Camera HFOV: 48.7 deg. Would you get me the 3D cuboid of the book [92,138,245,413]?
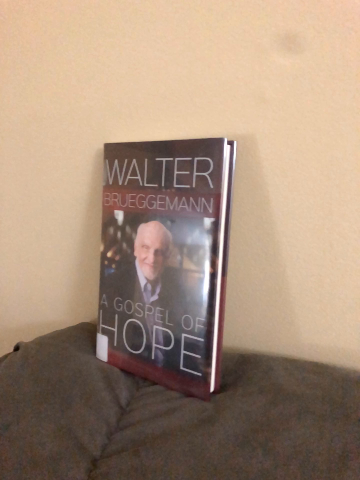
[{"bbox_3d":[-0.018,0.023,0.356,0.141,0.210,0.027,6,4,39],"label":"book"}]
